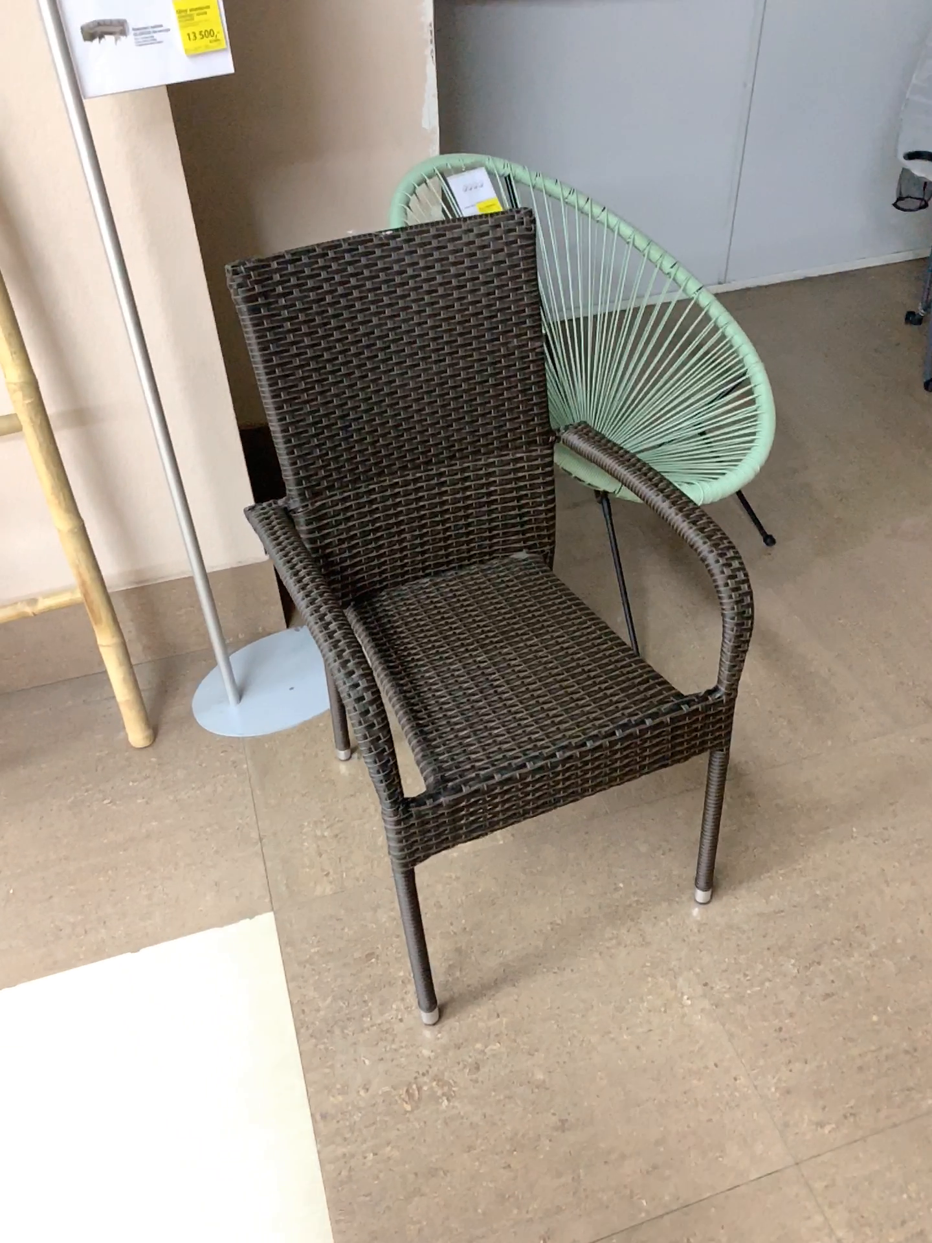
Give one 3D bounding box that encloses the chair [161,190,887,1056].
[{"bbox_3d":[0.028,-0.008,1.431,0.620,0.955,0.683,-17,42,-16],"label":"chair"}]
